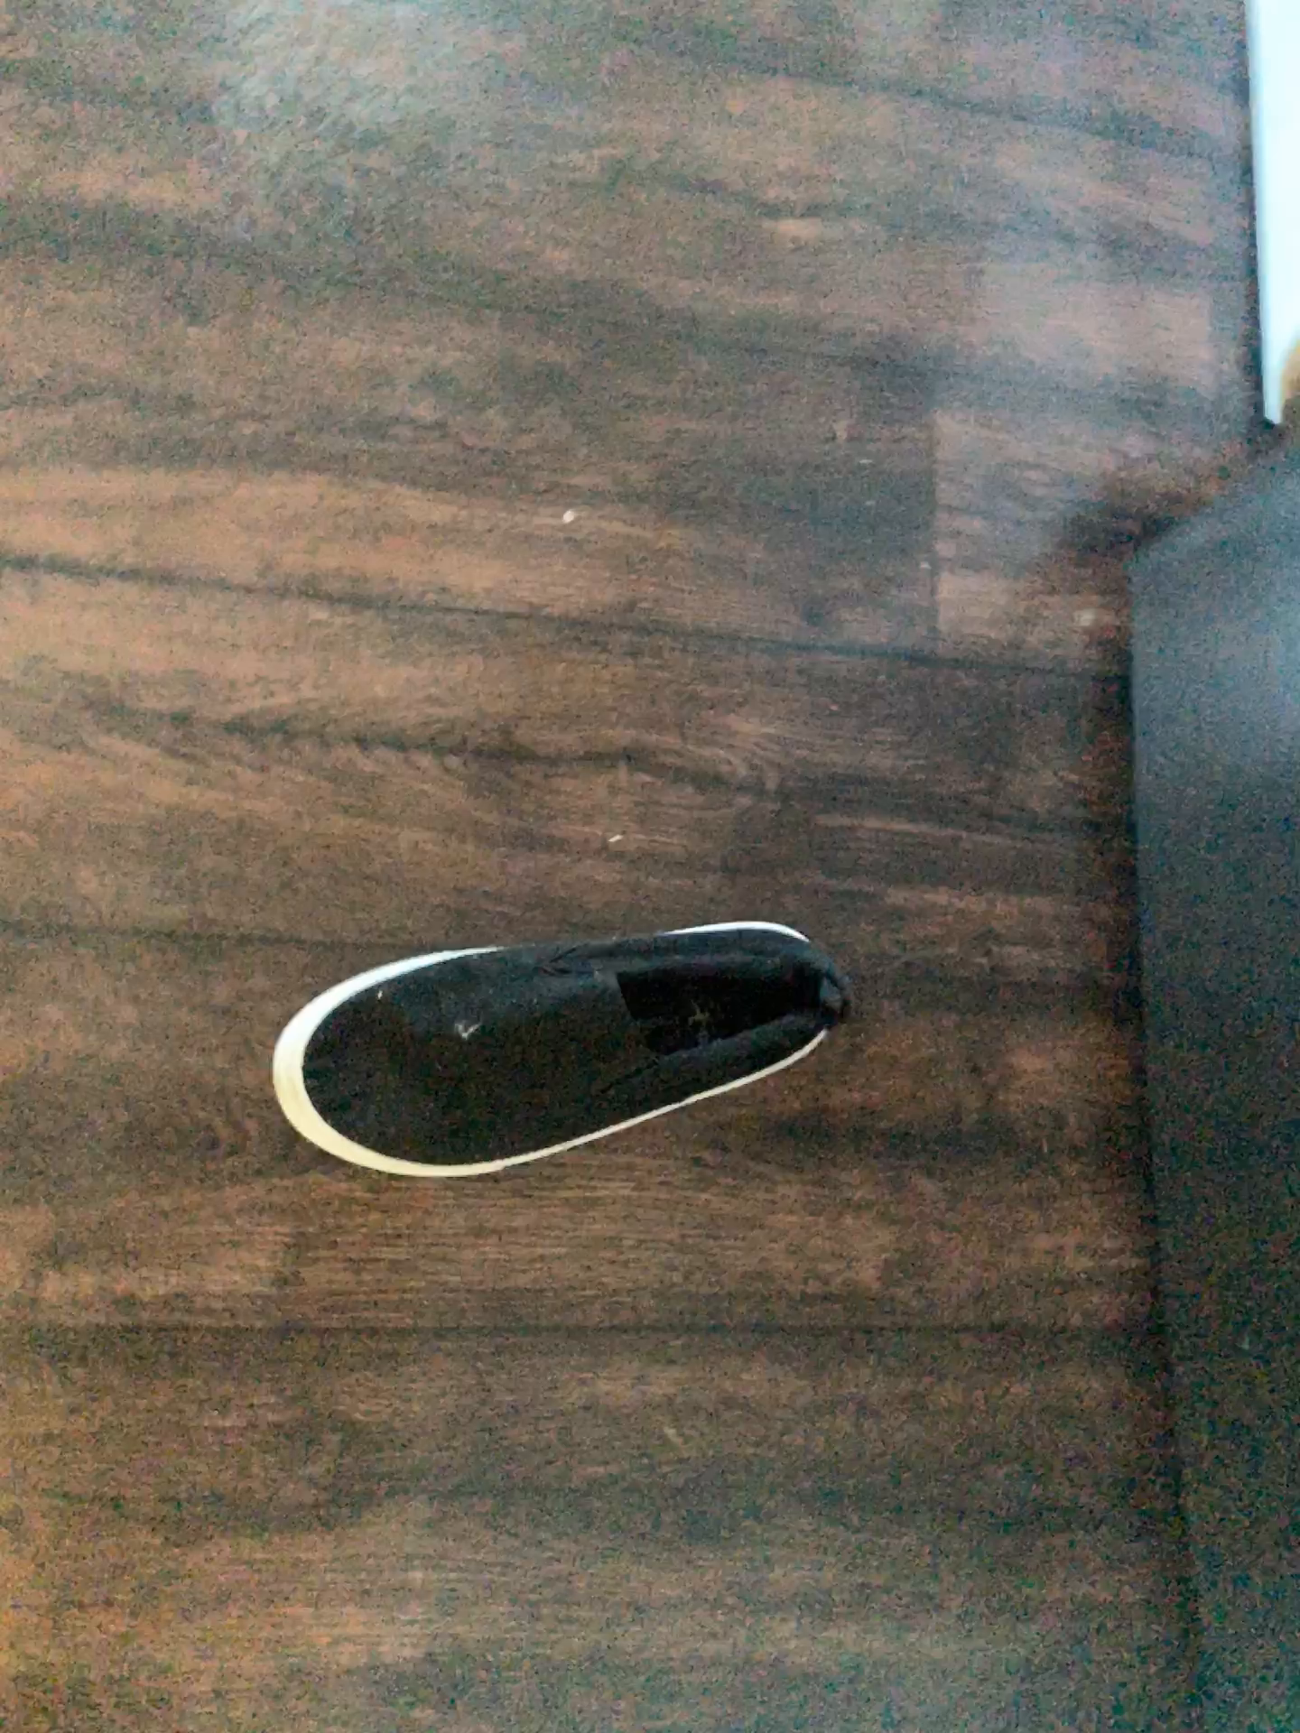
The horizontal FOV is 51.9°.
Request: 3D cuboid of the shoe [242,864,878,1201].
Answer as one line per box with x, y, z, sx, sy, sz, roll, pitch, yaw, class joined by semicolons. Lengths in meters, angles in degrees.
-0.039;0.067;0.558;0.238;0.080;0.100;-6;81;-12;shoe
